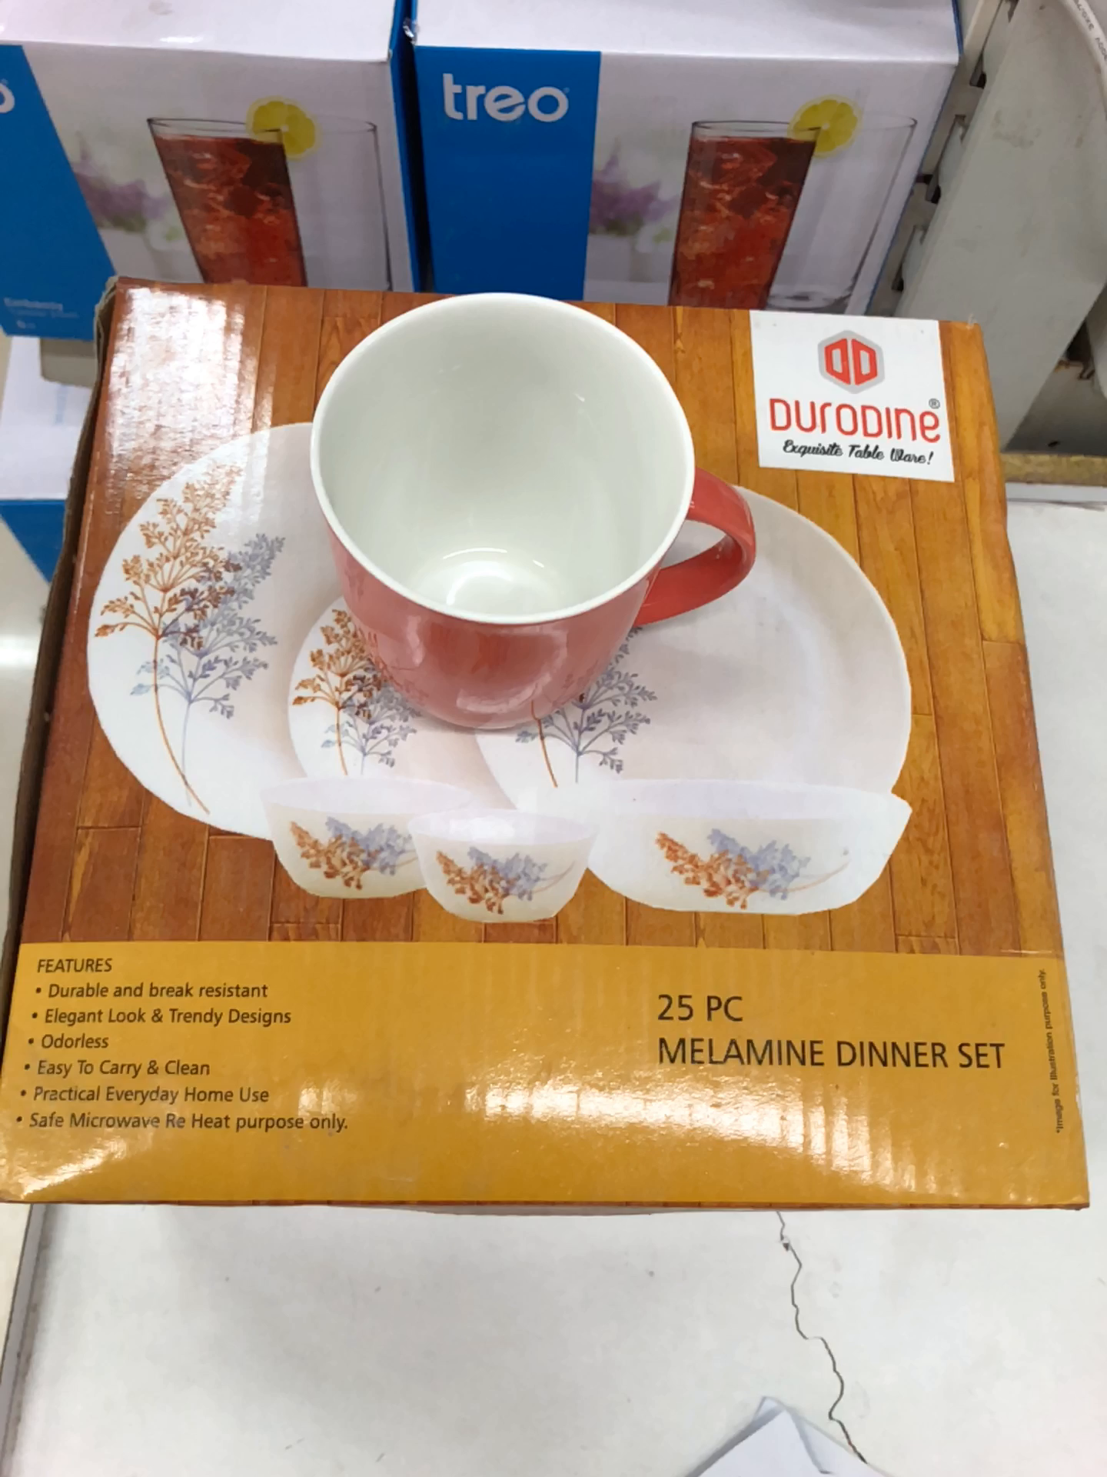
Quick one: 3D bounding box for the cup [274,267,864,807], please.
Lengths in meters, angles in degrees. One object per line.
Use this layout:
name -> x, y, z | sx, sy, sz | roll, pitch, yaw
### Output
cup -> 0.004, -0.045, 0.313 | 0.120, 0.100, 0.090 | 3, 68, 0
